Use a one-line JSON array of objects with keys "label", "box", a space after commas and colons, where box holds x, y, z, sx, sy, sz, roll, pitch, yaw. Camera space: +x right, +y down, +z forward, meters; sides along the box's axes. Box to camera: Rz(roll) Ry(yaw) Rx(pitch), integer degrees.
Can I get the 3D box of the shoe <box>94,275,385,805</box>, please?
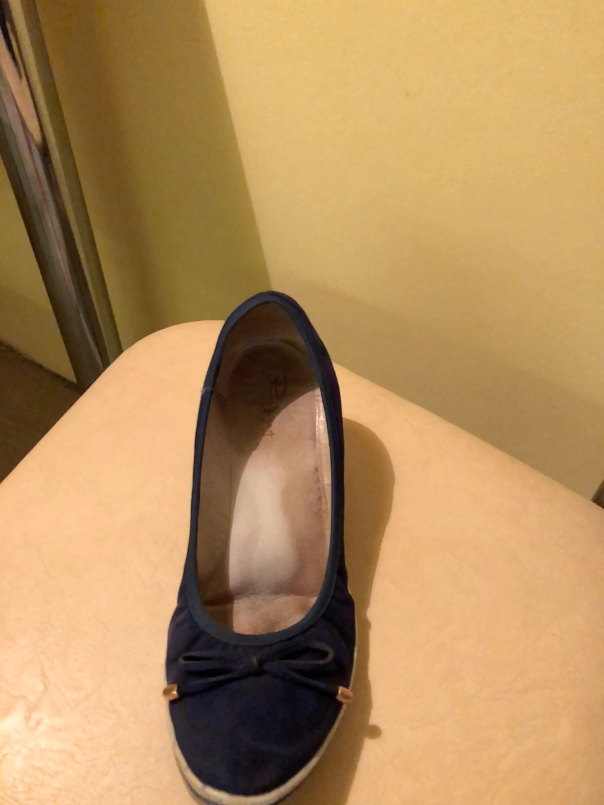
[{"label": "shoe", "box": [-0.020, 0.054, 0.328, 0.090, 0.099, 0.252, 1, 47, -1]}]
